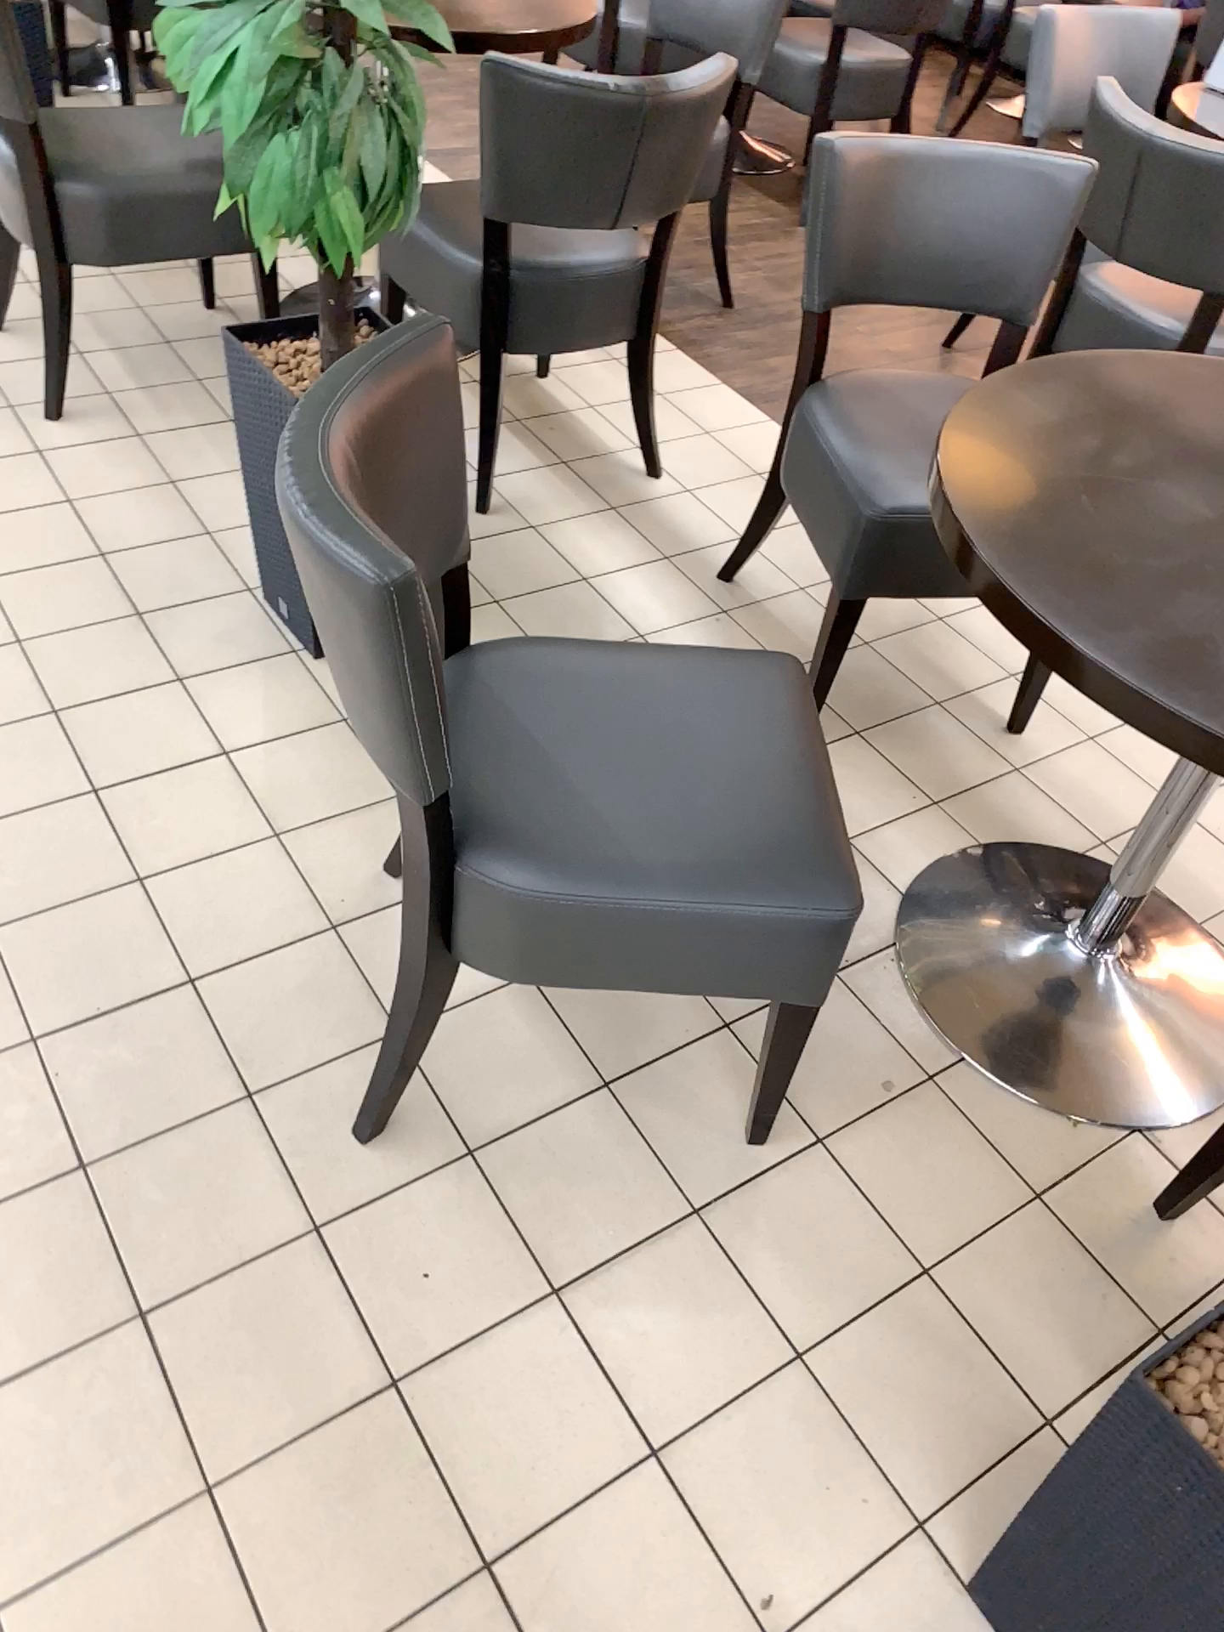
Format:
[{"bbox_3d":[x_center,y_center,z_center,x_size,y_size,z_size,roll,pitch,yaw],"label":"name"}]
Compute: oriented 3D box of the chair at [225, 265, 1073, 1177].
[{"bbox_3d":[-0.016,-0.070,1.400,0.640,0.796,0.553,5,43,-6],"label":"chair"}]
